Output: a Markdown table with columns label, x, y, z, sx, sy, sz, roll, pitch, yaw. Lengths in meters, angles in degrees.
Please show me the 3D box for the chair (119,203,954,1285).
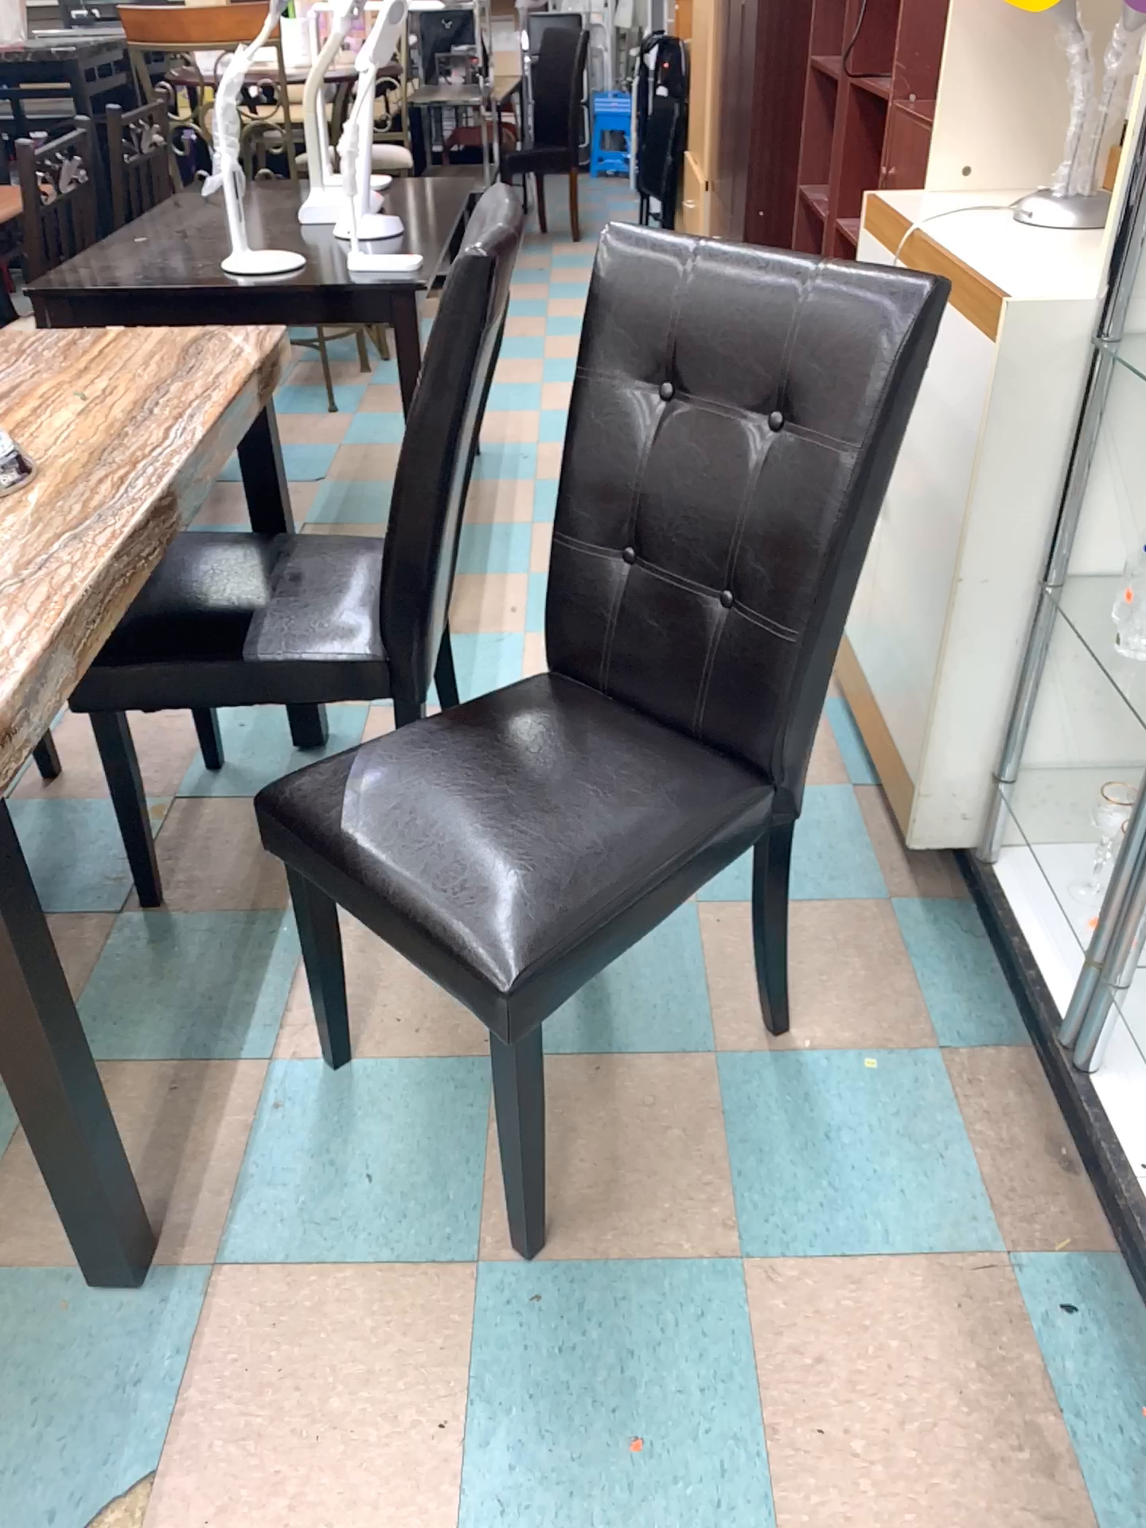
| label | x | y | z | sx | sy | sz | roll | pitch | yaw |
| --- | --- | --- | --- | --- | --- | --- | --- | --- | --- |
| chair | -0.019 | -0.038 | 1.295 | 0.555 | 0.948 | 0.486 | -29 | 43 | -33 |
